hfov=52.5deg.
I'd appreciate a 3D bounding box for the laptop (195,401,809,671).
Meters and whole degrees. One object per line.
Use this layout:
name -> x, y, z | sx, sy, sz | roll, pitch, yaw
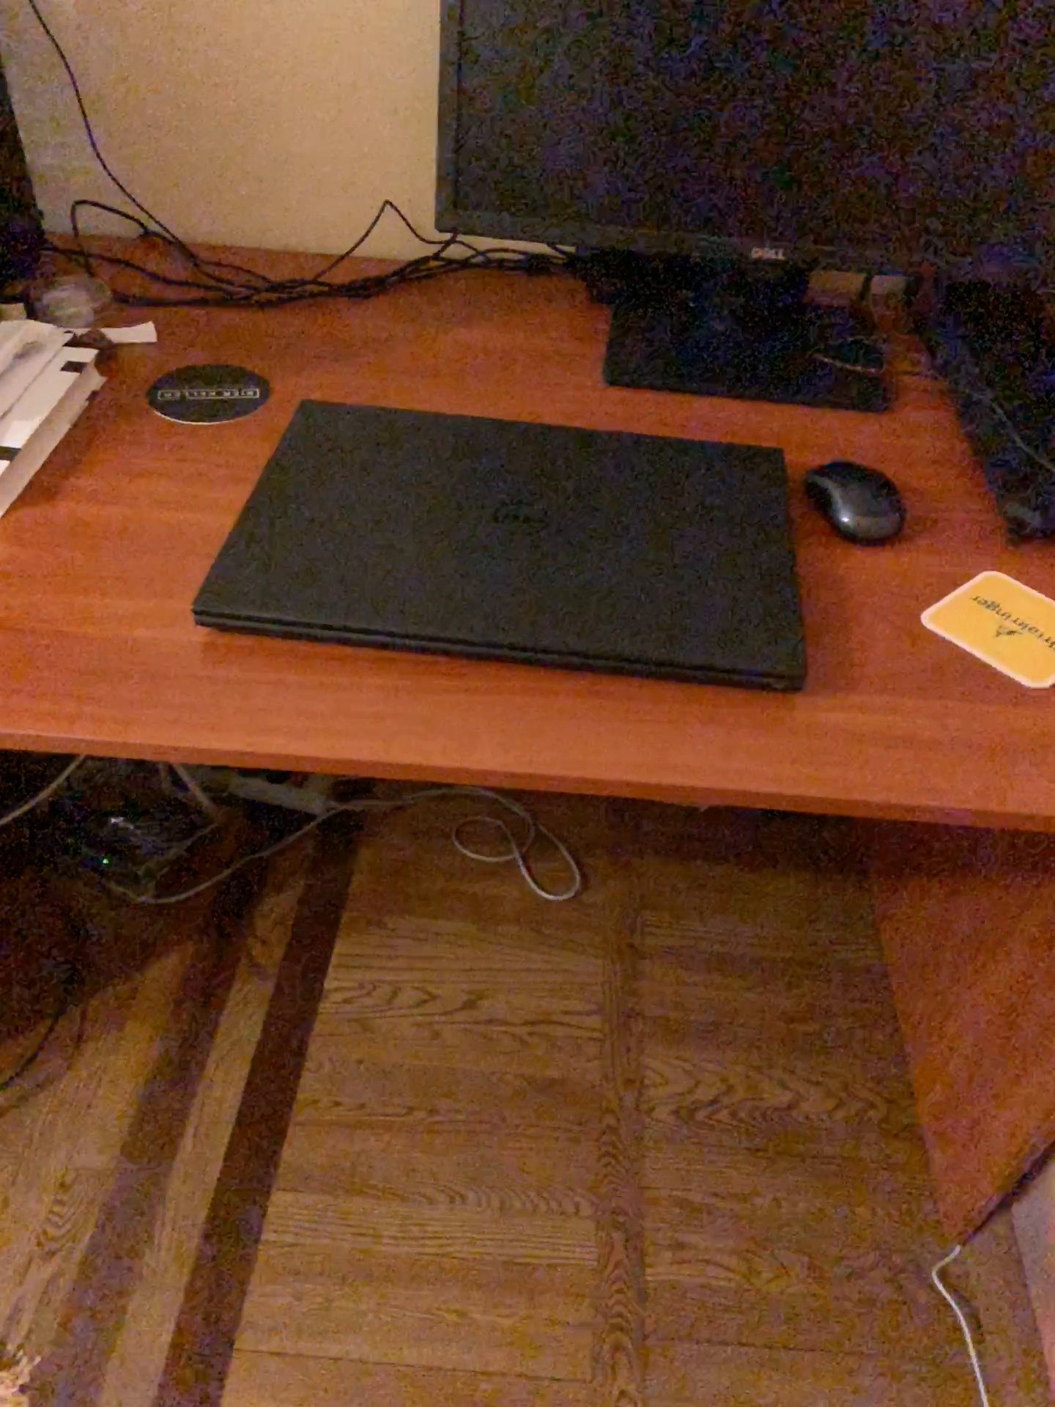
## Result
laptop -> -0.001, -0.121, 0.698 | 0.351, 0.001, 0.249 | 7, 43, 2
